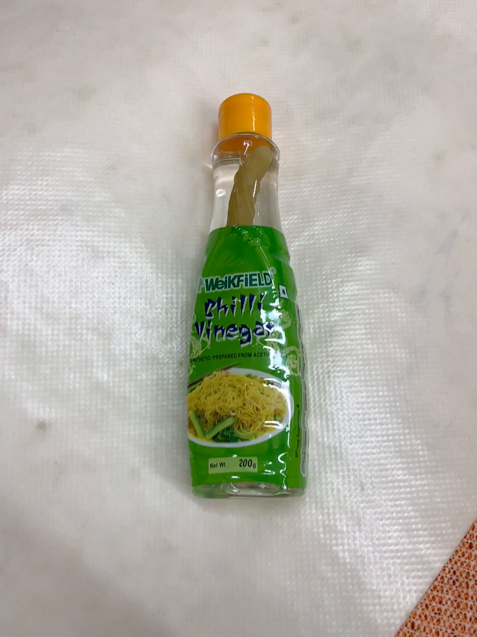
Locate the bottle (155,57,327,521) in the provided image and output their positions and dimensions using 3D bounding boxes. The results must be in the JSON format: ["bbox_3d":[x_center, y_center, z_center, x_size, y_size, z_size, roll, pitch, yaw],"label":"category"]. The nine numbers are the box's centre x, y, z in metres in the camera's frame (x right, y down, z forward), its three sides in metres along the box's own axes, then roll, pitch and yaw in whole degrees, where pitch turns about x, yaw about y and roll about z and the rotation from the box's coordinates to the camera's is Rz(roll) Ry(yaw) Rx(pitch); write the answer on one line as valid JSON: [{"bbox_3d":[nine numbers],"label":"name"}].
[{"bbox_3d":[0.004,-0.014,0.213,0.060,0.040,0.180,-2,79,15],"label":"bottle"}]
